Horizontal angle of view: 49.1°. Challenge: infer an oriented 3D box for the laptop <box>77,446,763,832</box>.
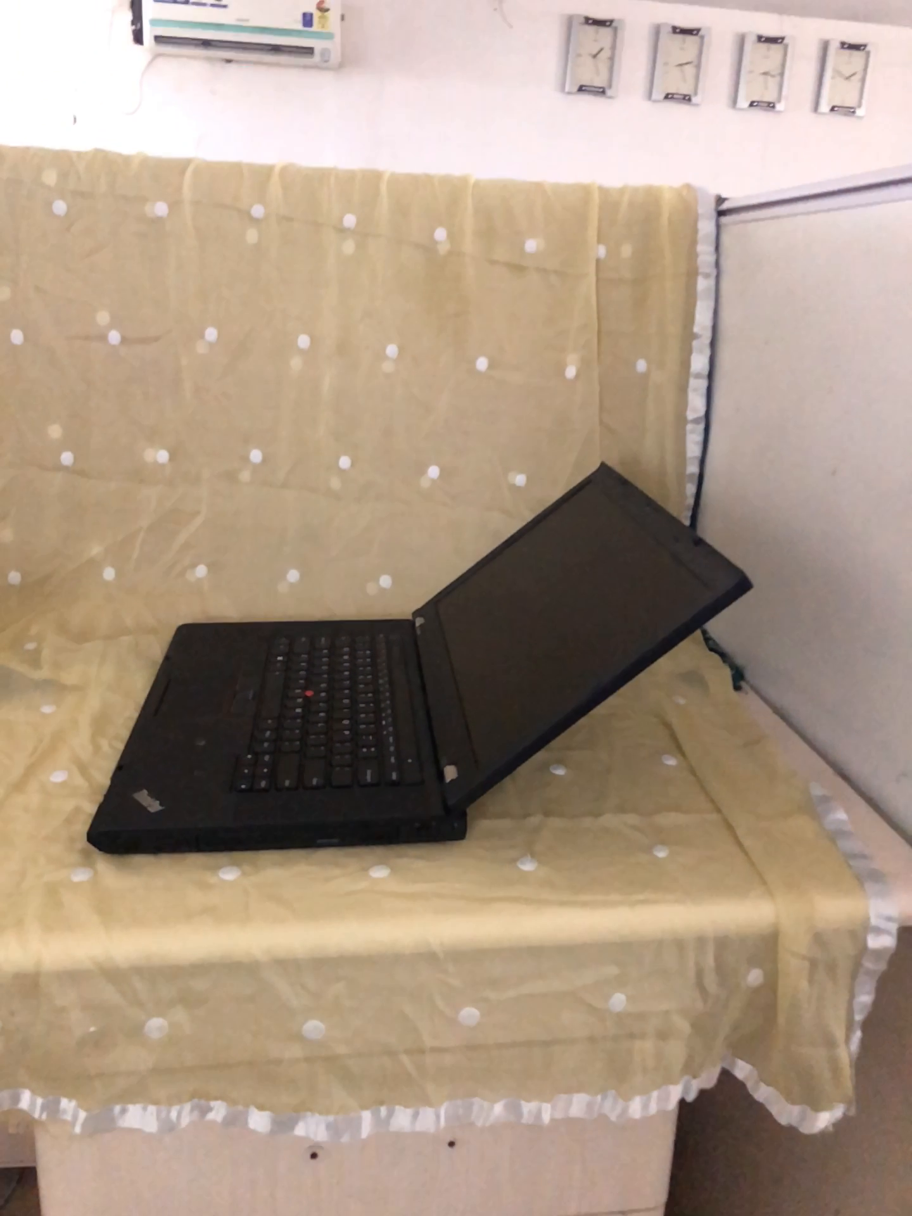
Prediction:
[{"bbox_3d":[-0.038,-0.006,0.801,0.424,0.156,0.349,-4,20,-5],"label":"laptop"}]
